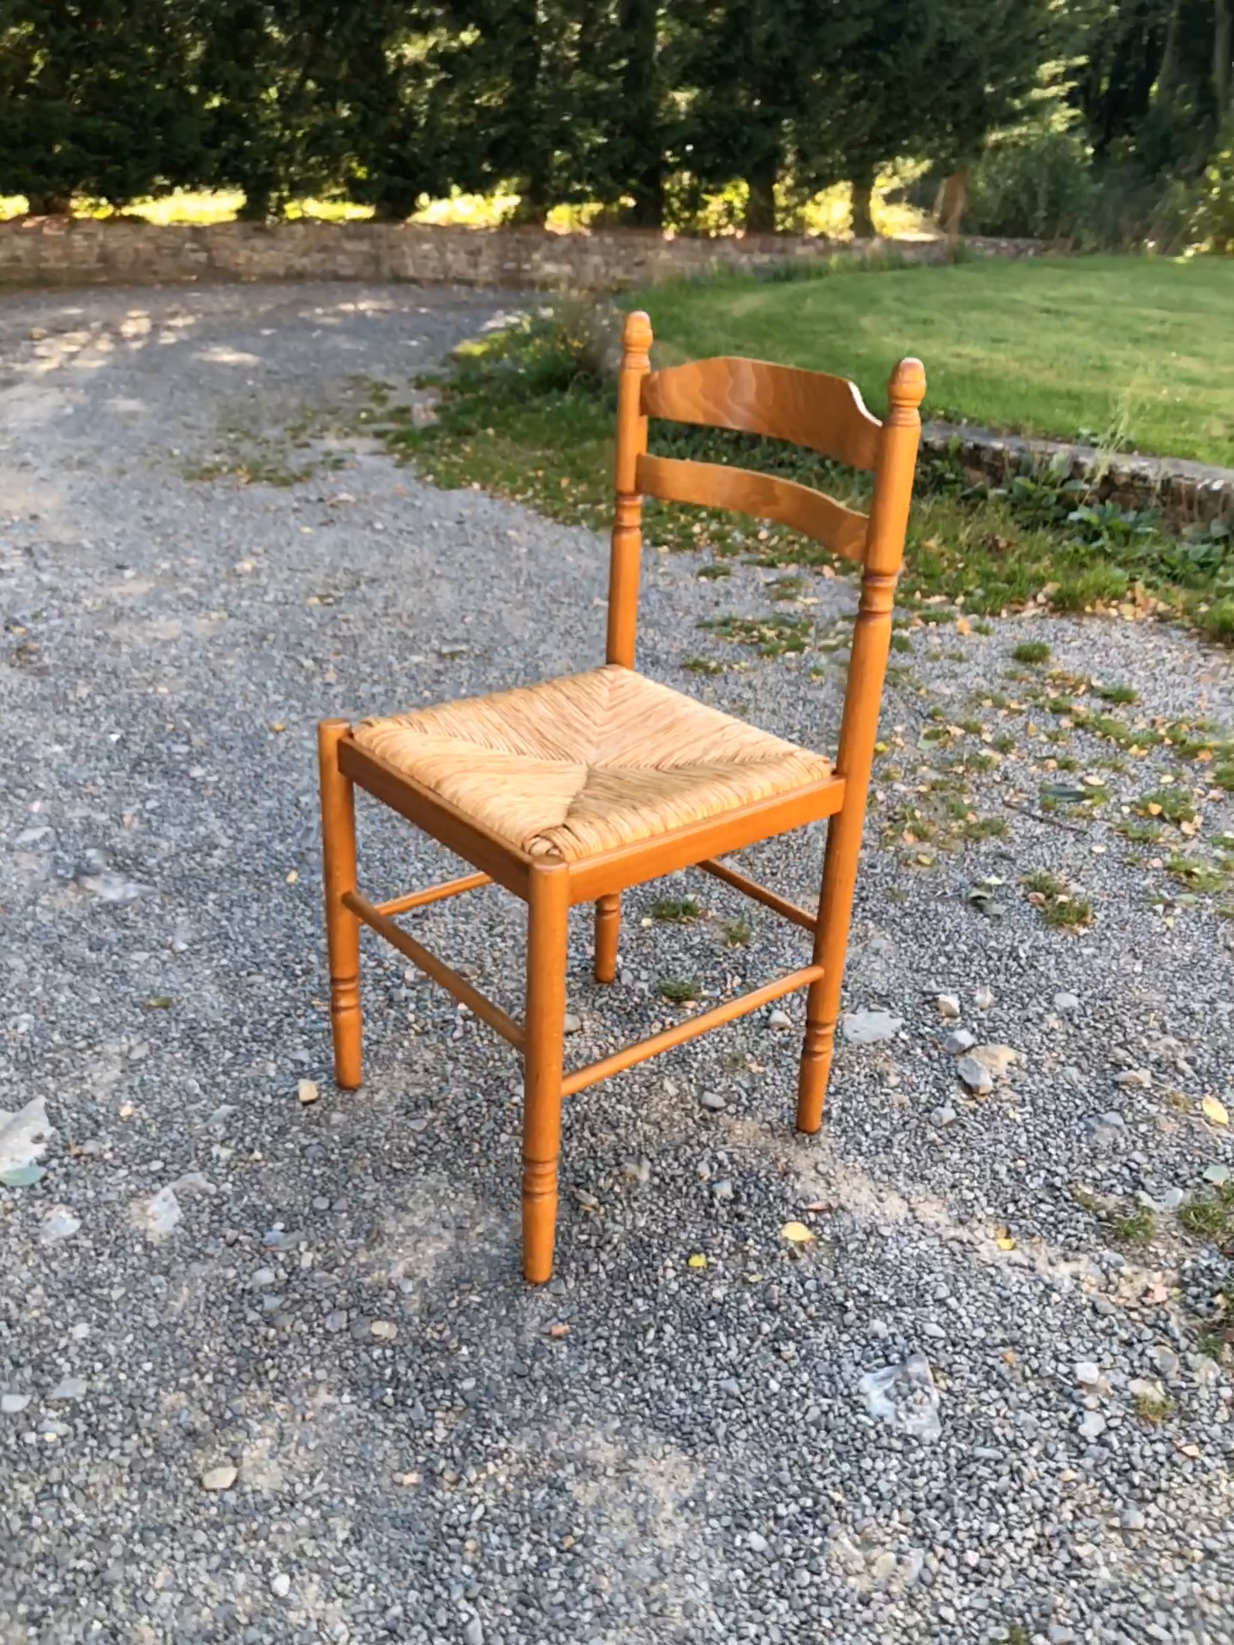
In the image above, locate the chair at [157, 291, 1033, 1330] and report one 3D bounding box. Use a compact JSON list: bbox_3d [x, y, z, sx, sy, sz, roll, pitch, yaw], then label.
[{"bbox_3d":[-0.034,-0.068,1.293,0.522,0.736,0.511,-20,35,-35],"label":"chair"}]
